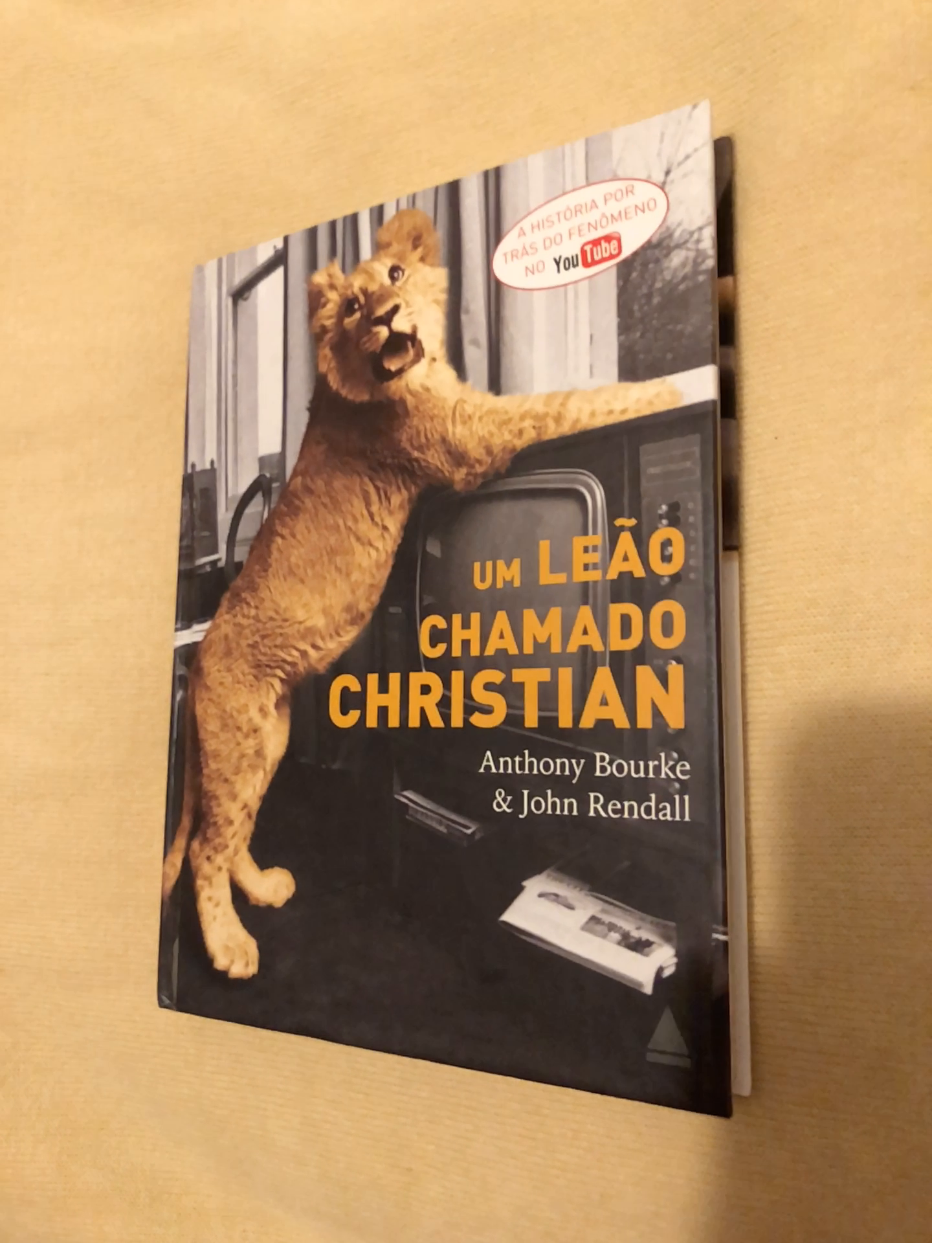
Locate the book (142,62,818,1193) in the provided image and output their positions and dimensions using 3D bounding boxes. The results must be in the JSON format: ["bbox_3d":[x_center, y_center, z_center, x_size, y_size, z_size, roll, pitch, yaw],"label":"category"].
[{"bbox_3d":[-0.003,-0.002,0.235,0.150,0.030,0.200,-4,78,34],"label":"book"}]
